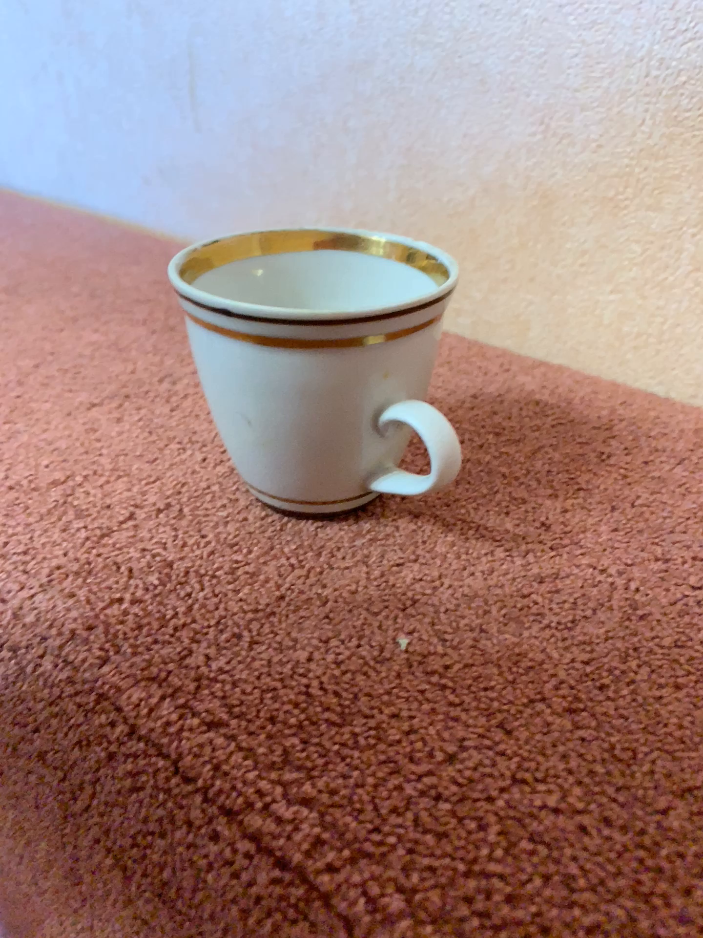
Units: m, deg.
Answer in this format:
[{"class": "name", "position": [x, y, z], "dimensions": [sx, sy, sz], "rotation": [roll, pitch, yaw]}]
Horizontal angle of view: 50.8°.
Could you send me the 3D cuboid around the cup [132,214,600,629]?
[{"class": "cup", "position": [-0.001, -0.018, 0.157], "dimensions": [0.054, 0.048, 0.078], "rotation": [-23, 38, -31]}]
